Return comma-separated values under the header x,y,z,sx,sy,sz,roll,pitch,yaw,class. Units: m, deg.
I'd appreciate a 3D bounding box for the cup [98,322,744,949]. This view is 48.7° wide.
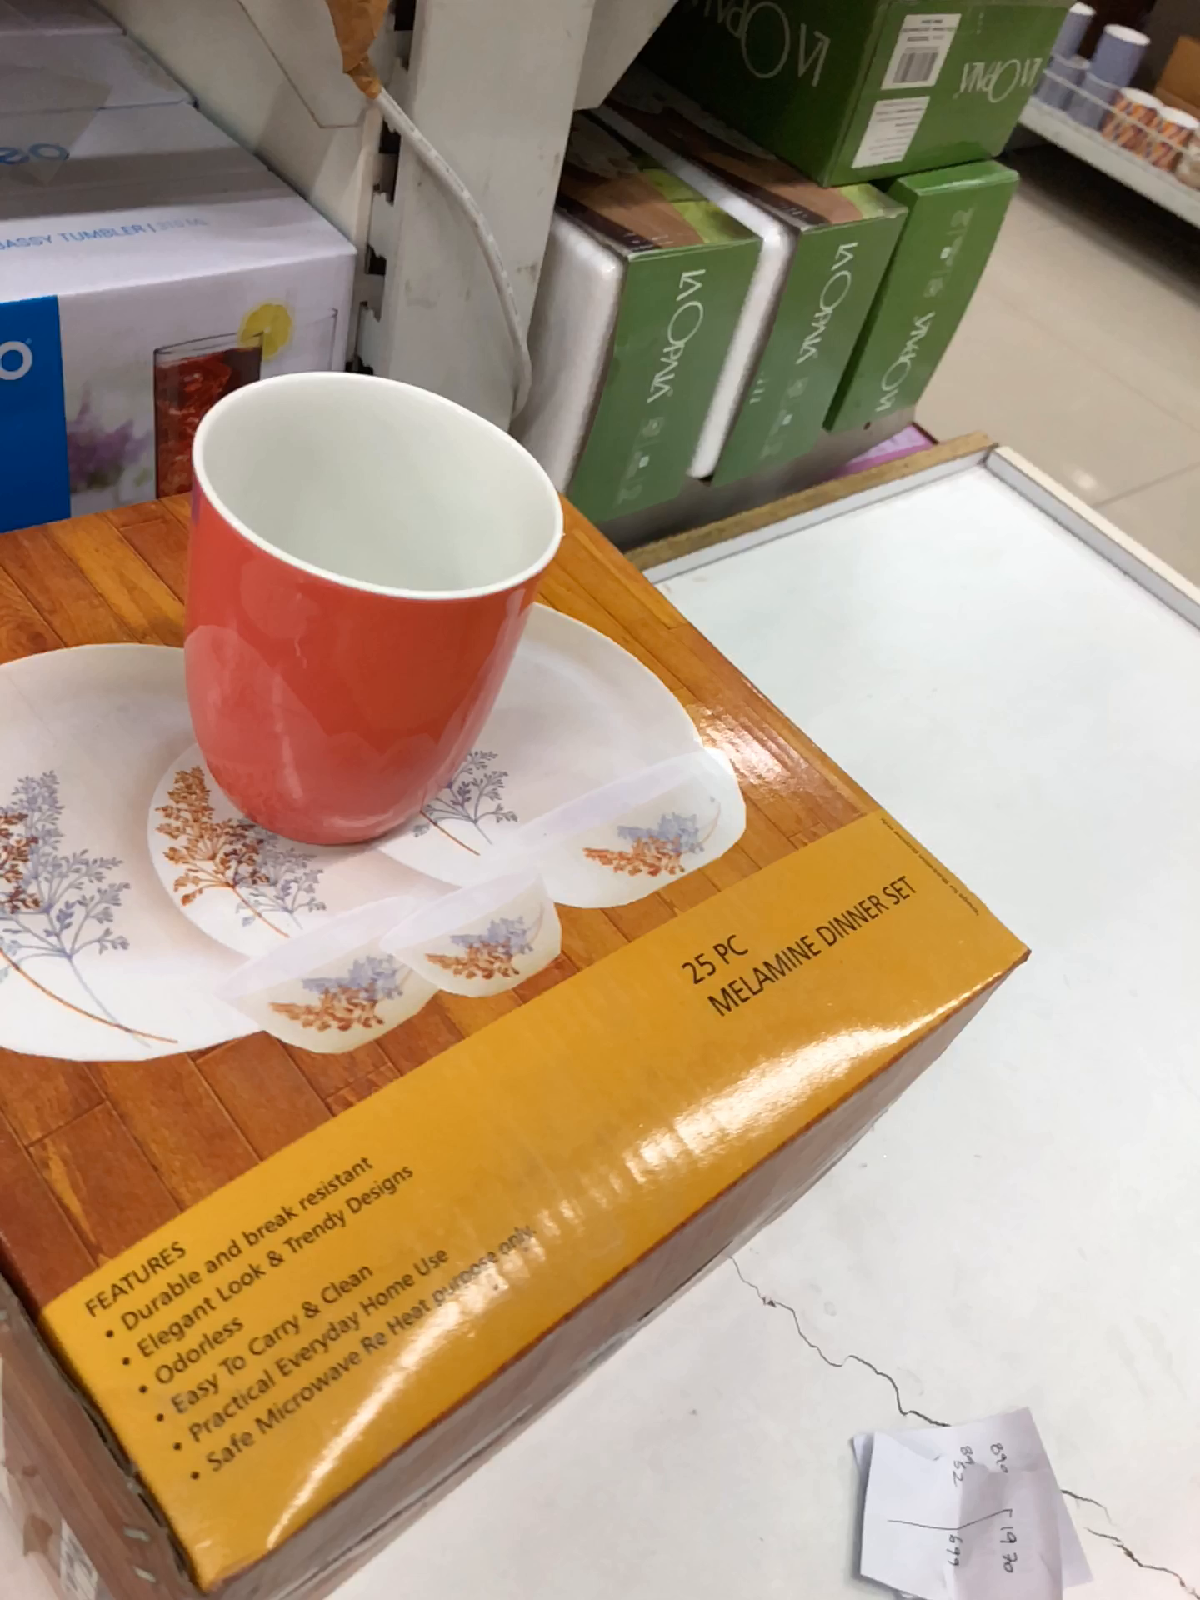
x,y,z,sx,sy,sz,roll,pitch,yaw,class
-0.050,-0.047,0.343,0.121,0.099,0.090,-24,59,-34,cup
